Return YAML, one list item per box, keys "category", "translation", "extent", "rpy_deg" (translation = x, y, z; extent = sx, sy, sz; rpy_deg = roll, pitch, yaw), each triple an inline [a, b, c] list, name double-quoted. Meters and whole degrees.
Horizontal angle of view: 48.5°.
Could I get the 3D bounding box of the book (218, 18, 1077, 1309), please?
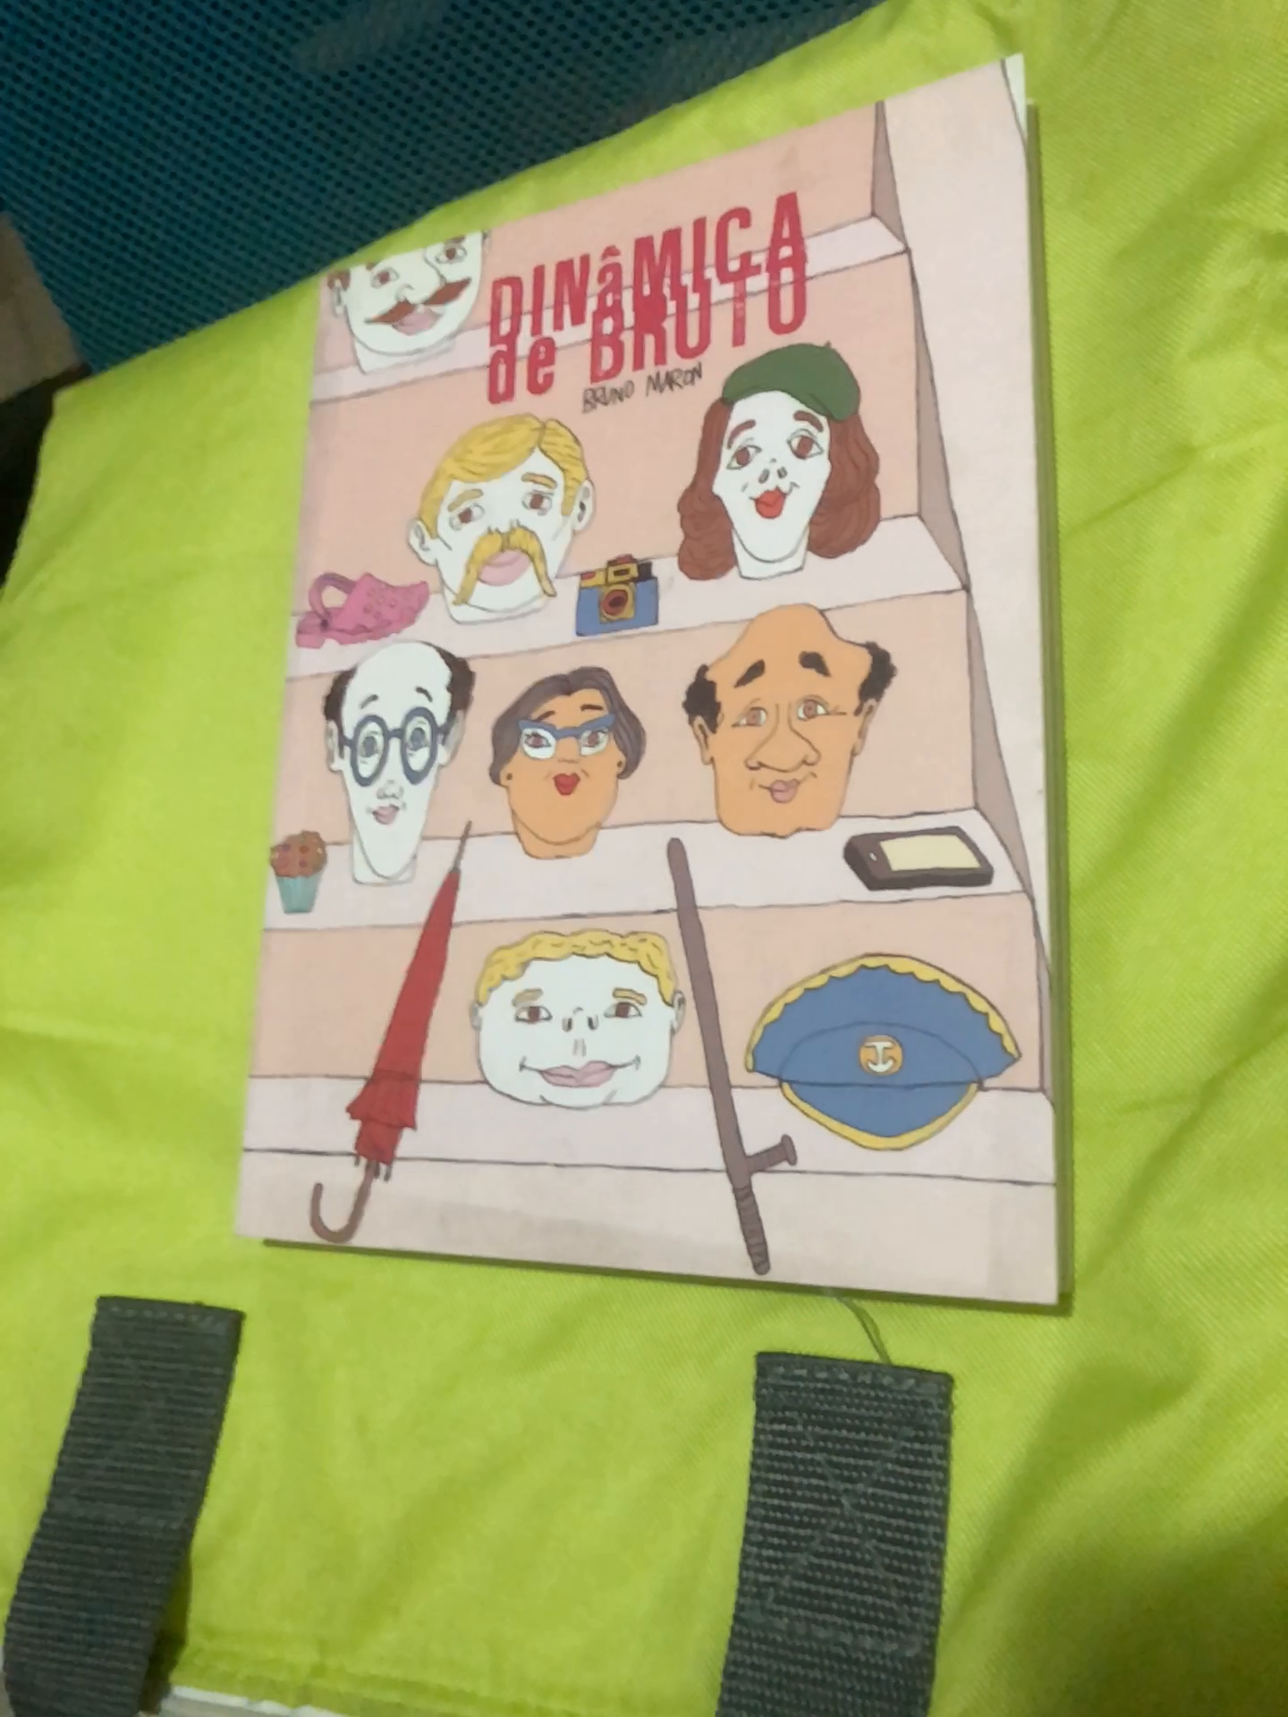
- category: "book"
  translation: [-0.005, -0.038, 0.302]
  extent: [0.179, 0.020, 0.240]
  rpy_deg: [-5, 76, 29]
